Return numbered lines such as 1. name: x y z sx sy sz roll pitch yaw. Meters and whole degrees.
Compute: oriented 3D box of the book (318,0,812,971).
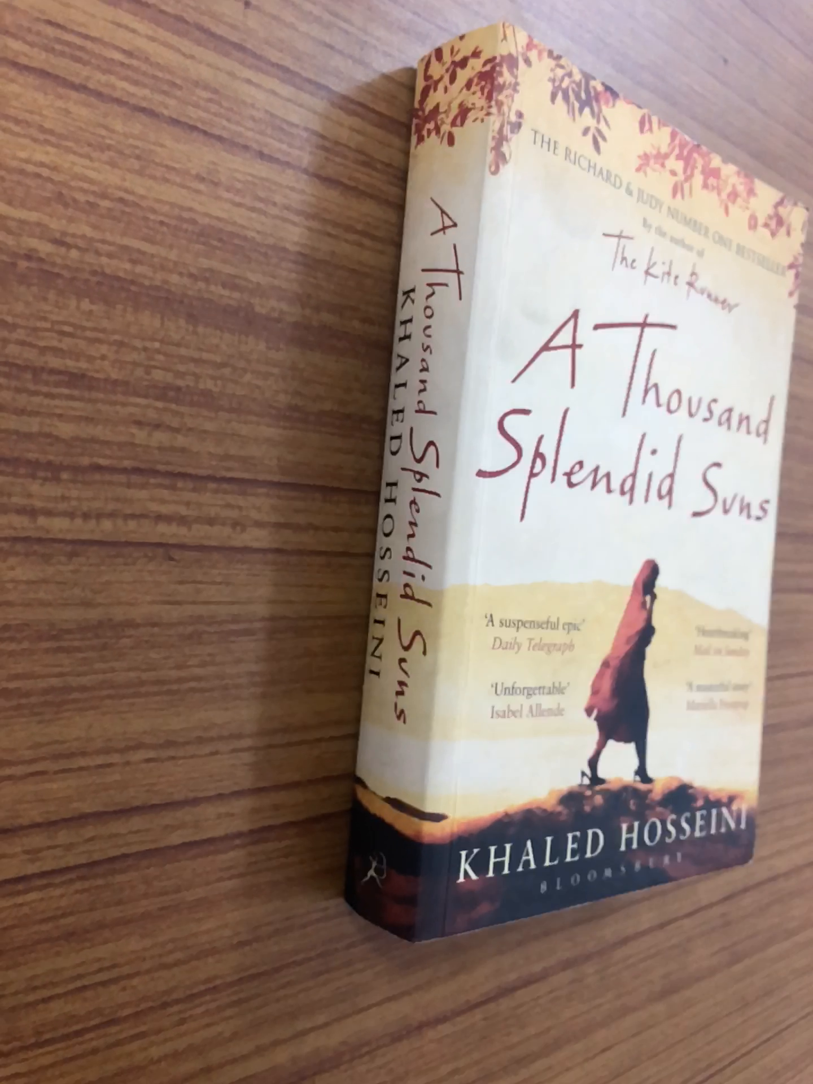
1. book: 0.053 -0.007 0.235 0.141 0.030 0.190 6 89 -41
